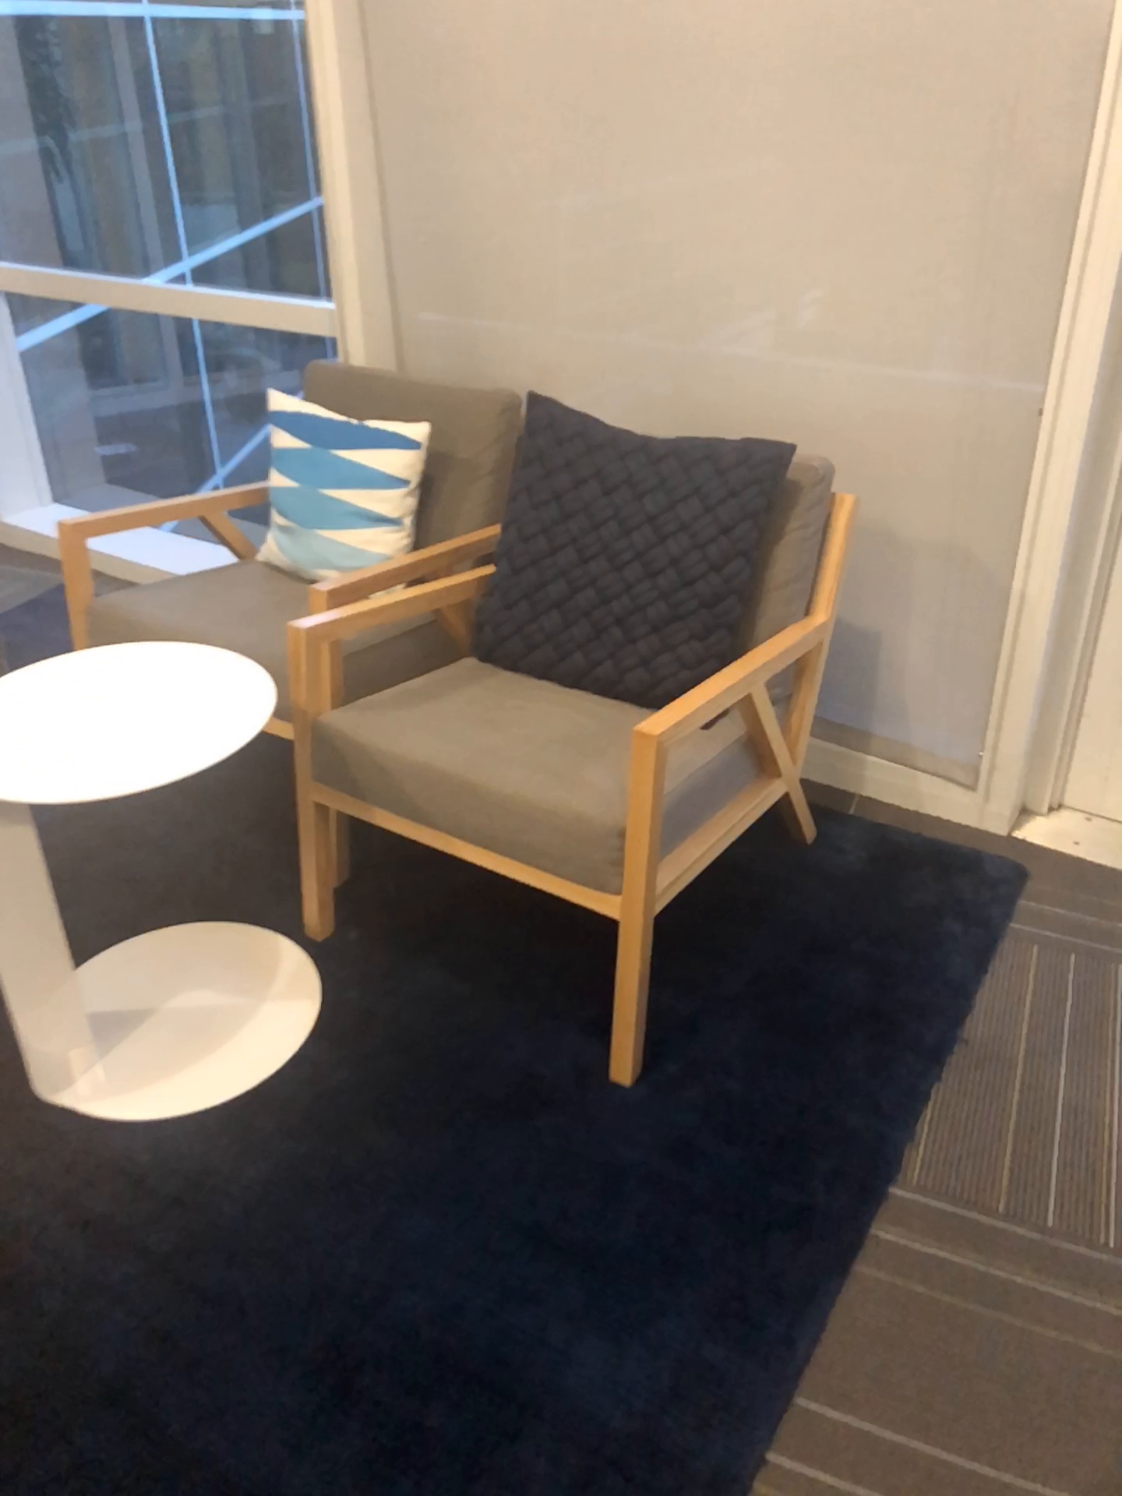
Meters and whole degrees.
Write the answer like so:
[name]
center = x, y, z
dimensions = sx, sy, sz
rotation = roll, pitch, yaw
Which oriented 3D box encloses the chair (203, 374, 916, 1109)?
[chair]
center = 0.043, -0.100, 2.069
dimensions = 0.740, 0.773, 0.857
rotation = 17, 34, 29
